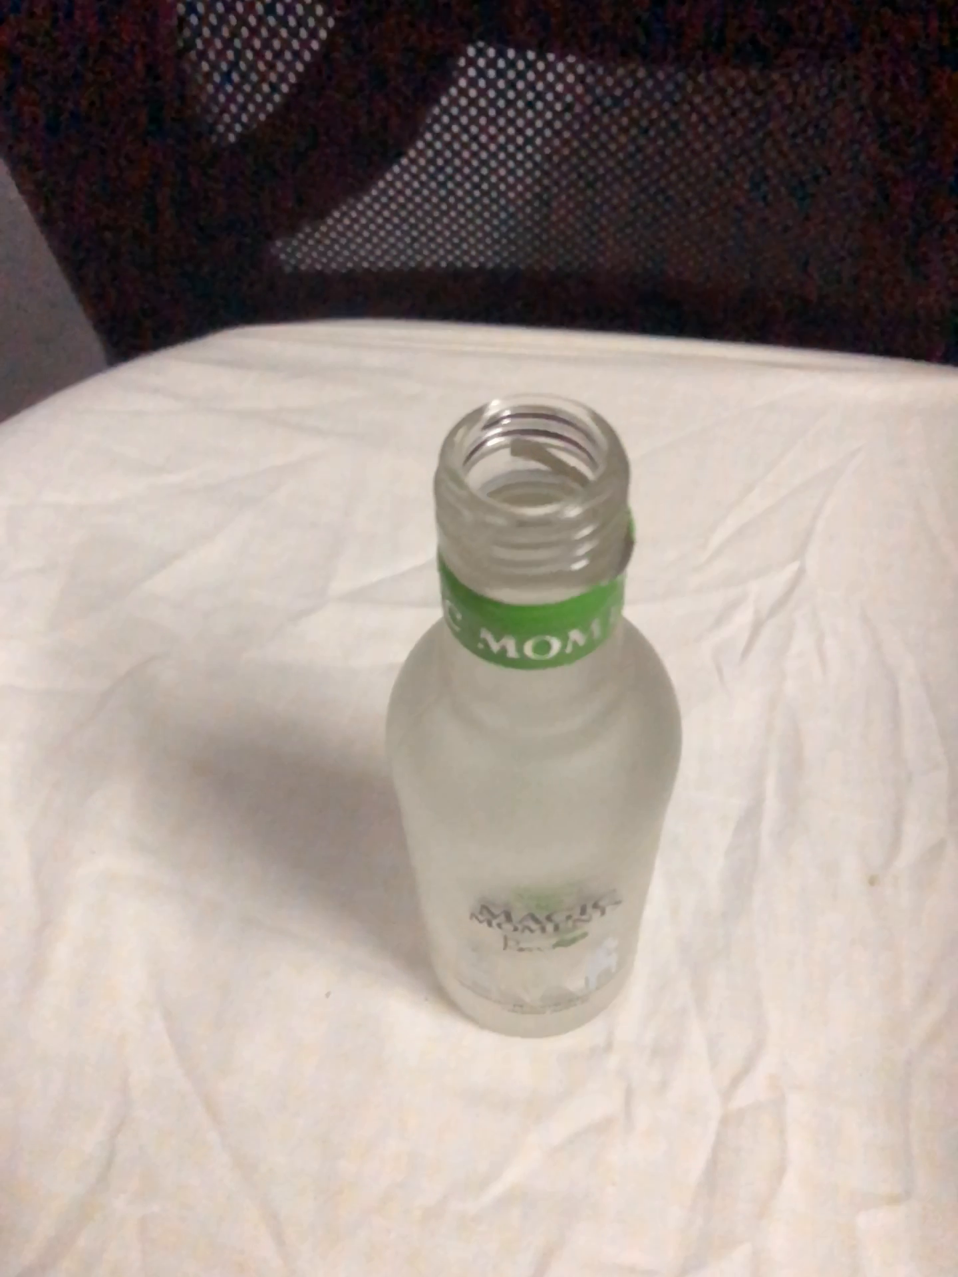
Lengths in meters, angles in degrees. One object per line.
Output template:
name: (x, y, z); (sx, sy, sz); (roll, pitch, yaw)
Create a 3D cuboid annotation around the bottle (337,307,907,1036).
bottle: (0.016, 0.025, 0.197); (0.060, 0.169, 0.050); (-1, 56, 0)
